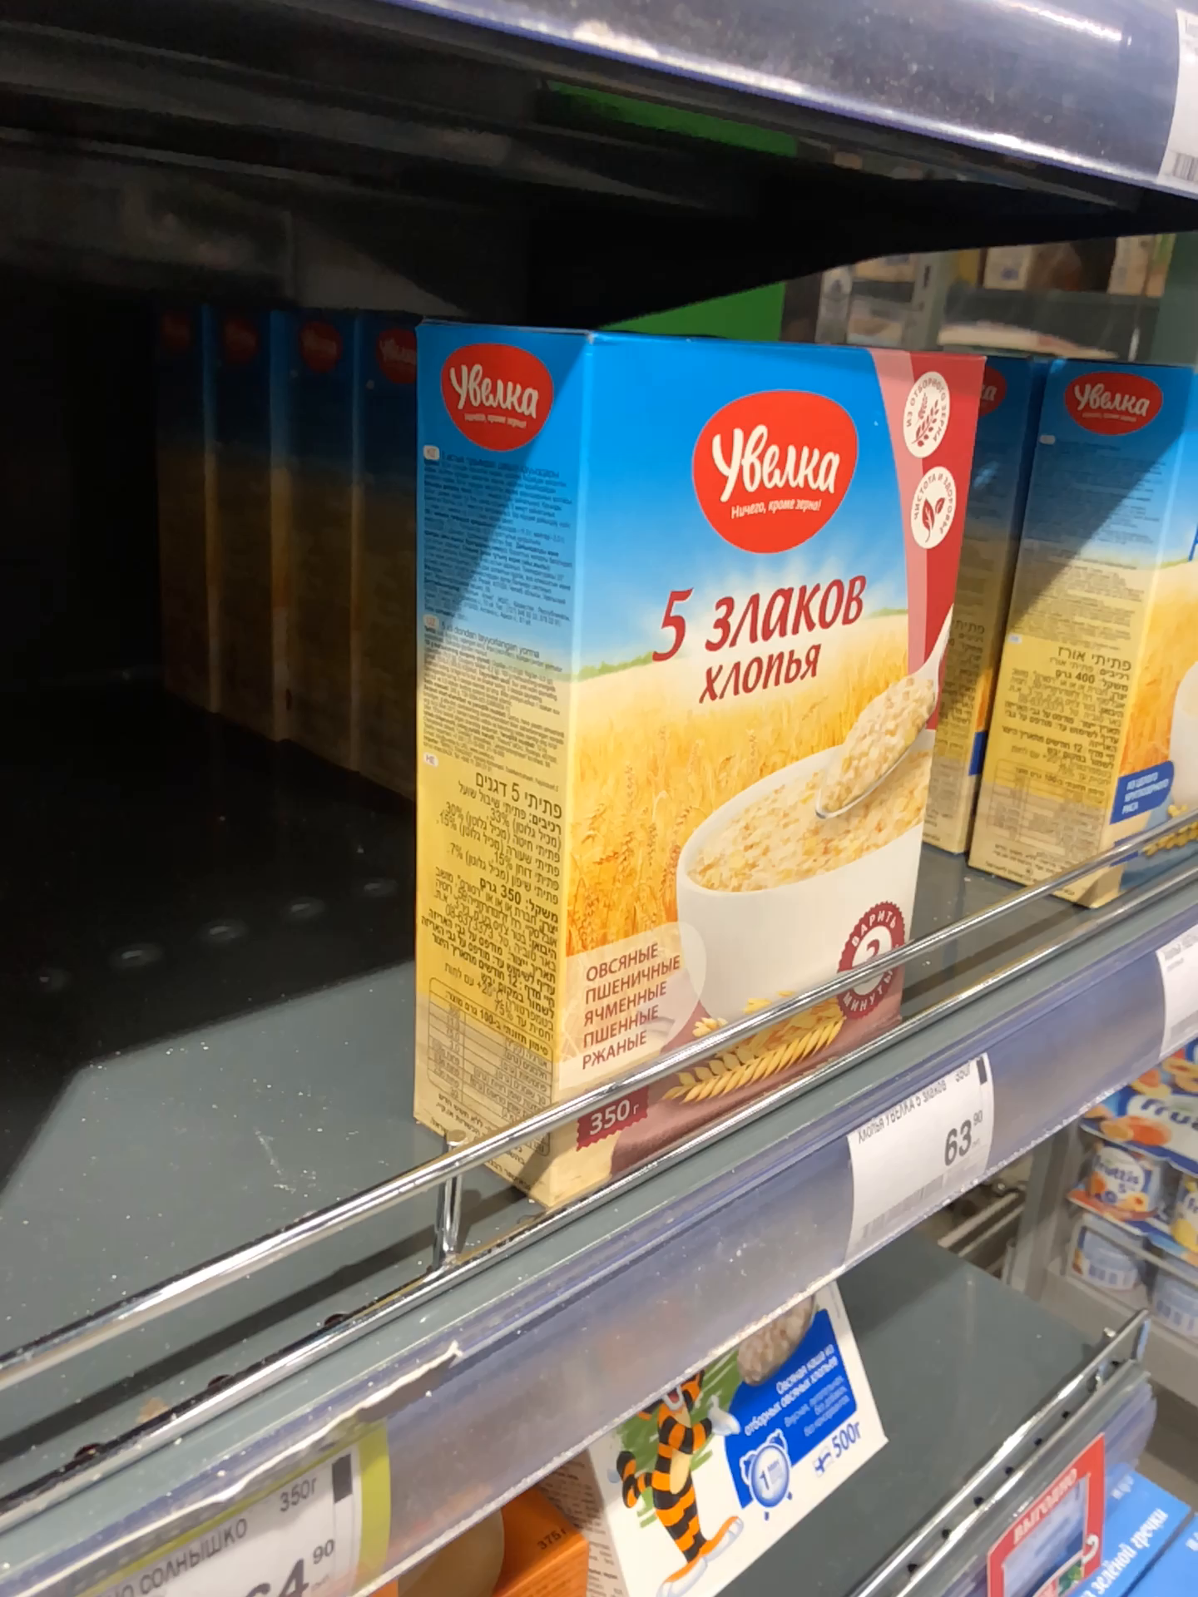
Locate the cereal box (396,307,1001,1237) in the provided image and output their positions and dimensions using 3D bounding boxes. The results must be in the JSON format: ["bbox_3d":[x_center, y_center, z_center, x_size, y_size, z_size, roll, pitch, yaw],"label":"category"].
[{"bbox_3d":[0.026,-0.016,0.327,0.050,0.189,0.150,19,24,41],"label":"cereal box"}]
